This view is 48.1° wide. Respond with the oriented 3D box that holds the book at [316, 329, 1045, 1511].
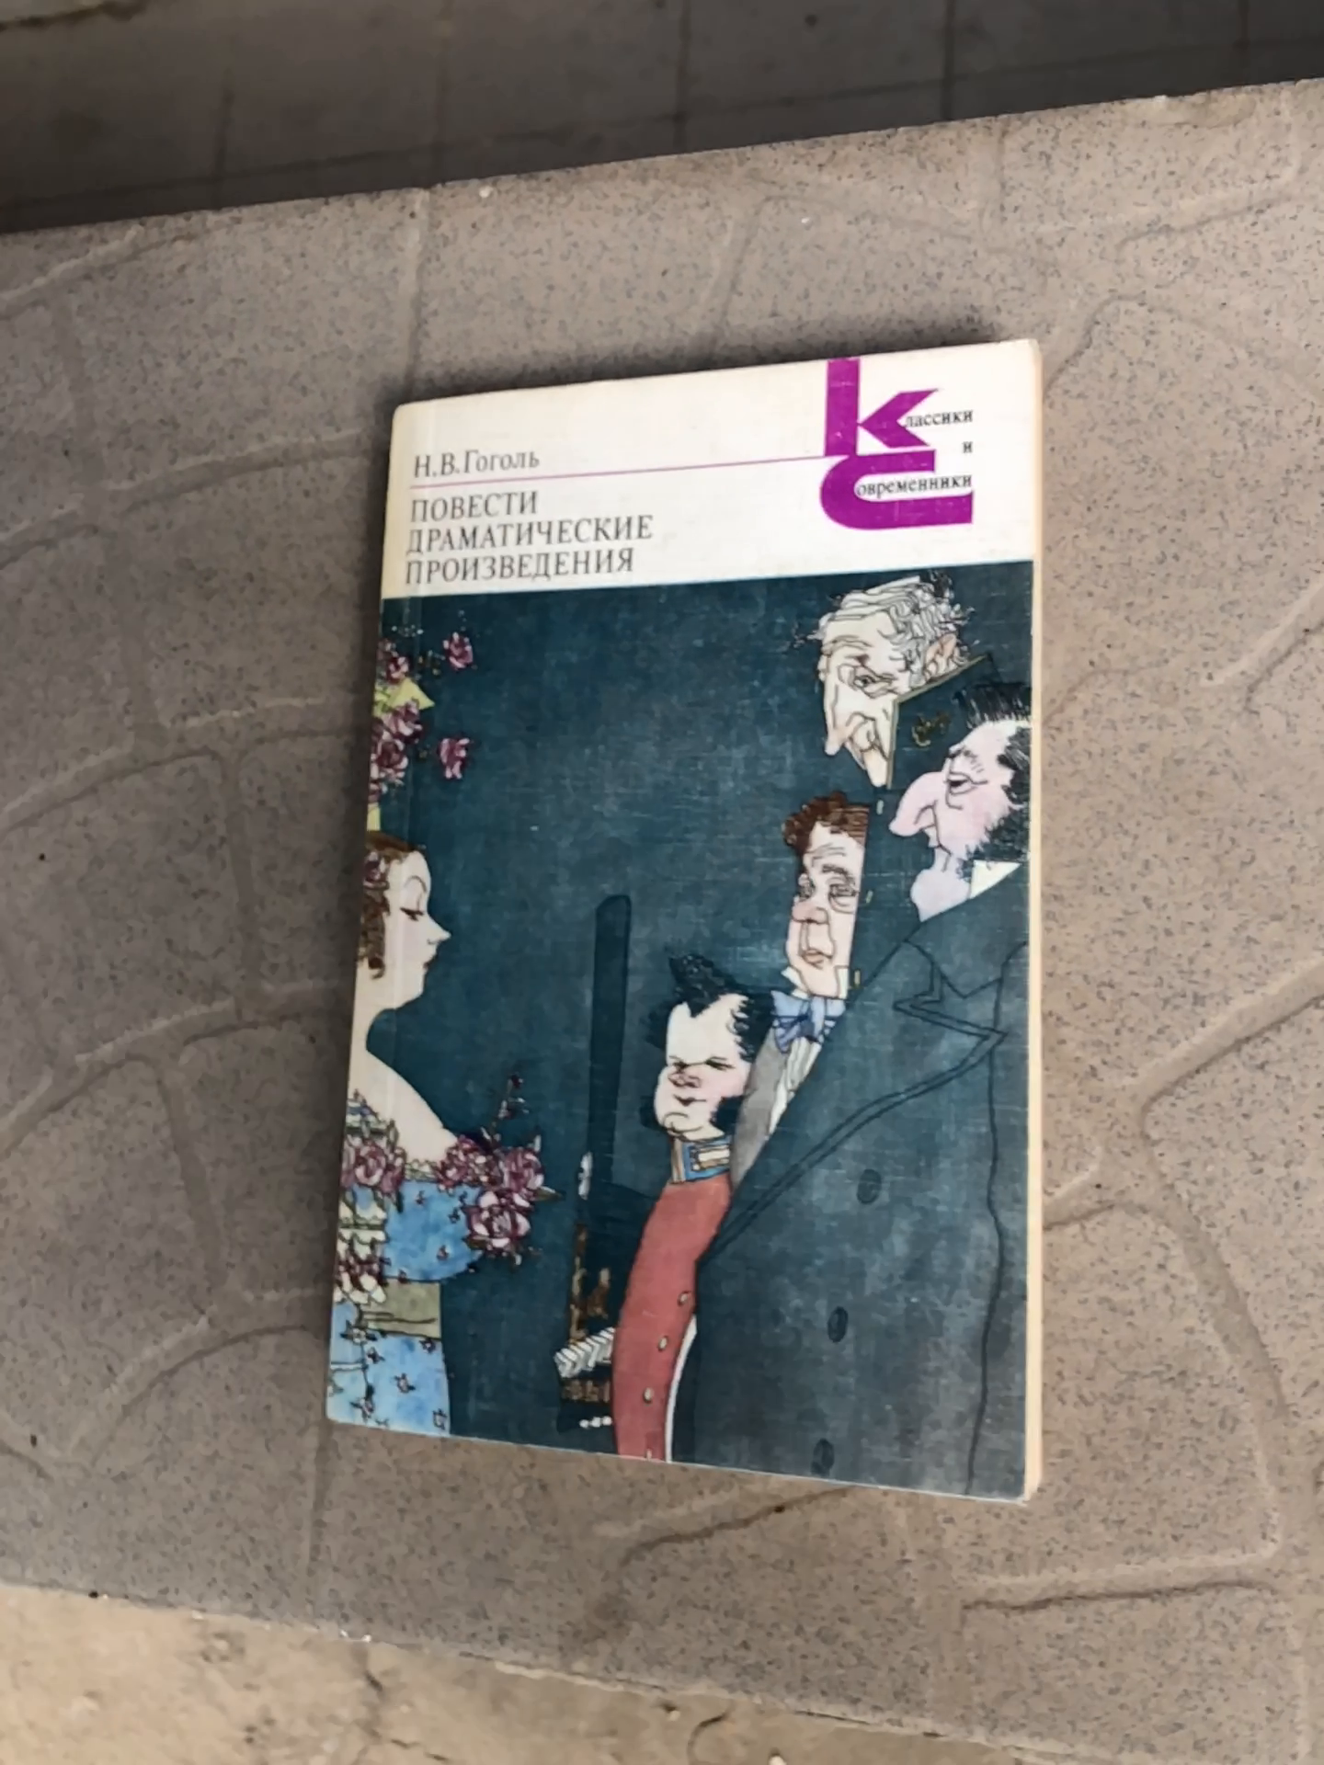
[{"bbox_3d":[0.004,0.002,0.269,0.123,0.021,0.193,0,83,18],"label":"book"}]
